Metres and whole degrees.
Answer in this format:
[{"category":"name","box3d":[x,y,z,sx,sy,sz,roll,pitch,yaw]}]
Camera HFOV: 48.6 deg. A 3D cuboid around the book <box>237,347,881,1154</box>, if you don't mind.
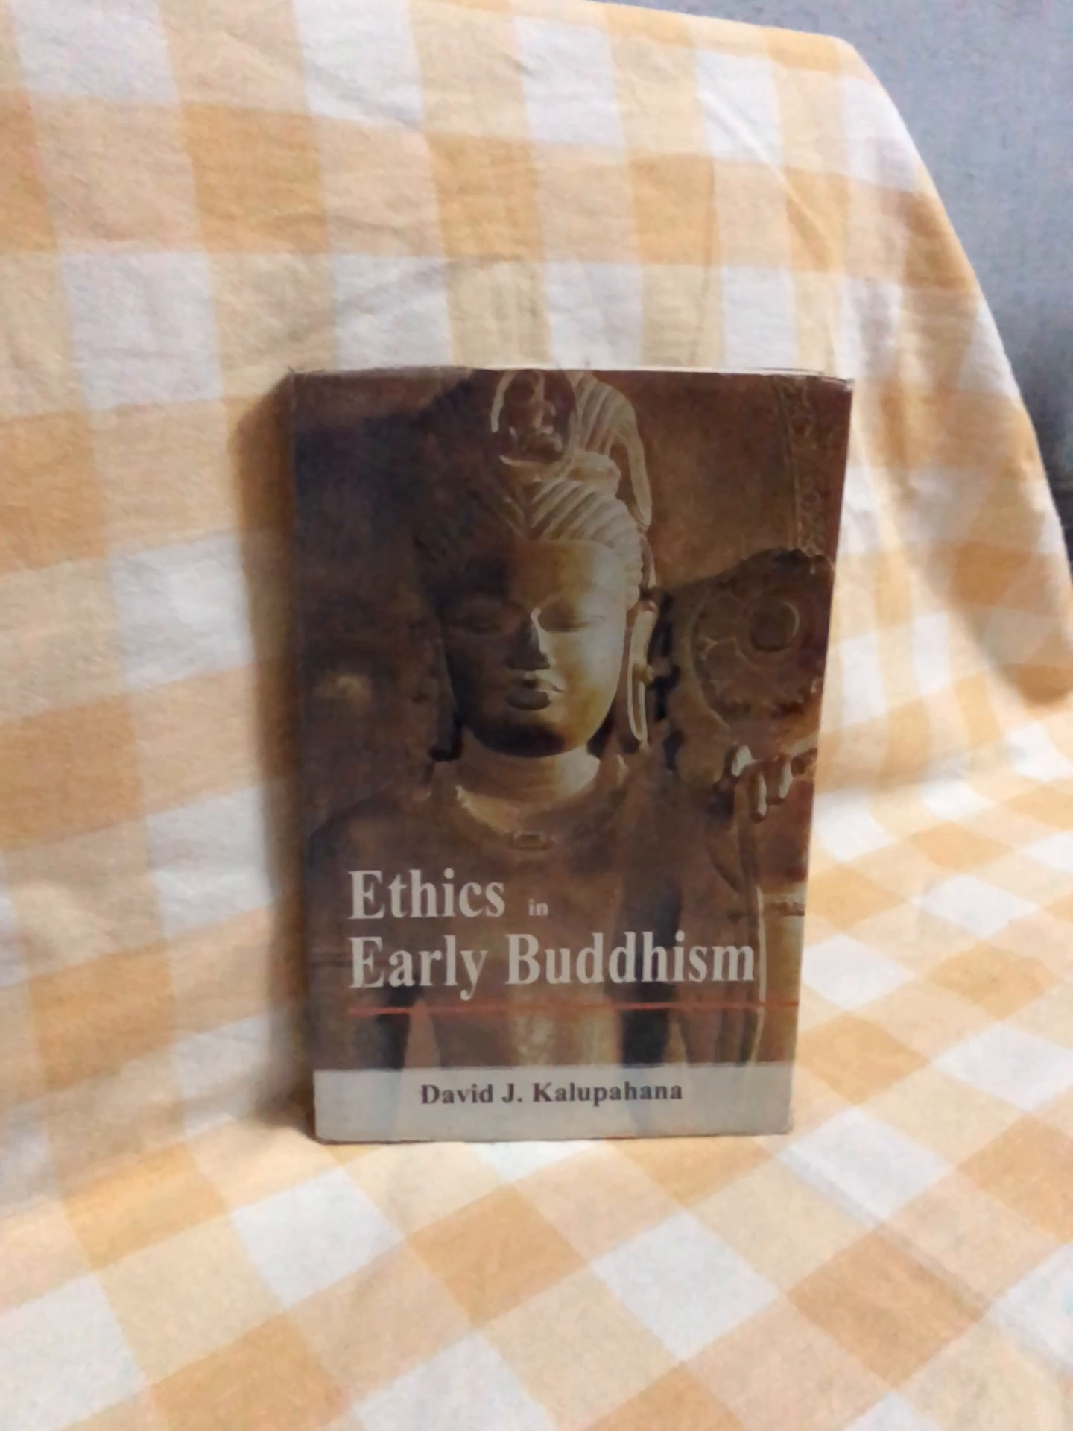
[{"category":"book","box3d":[0.004,0.018,0.336,0.160,0.229,0.020,0,17,-4]}]
